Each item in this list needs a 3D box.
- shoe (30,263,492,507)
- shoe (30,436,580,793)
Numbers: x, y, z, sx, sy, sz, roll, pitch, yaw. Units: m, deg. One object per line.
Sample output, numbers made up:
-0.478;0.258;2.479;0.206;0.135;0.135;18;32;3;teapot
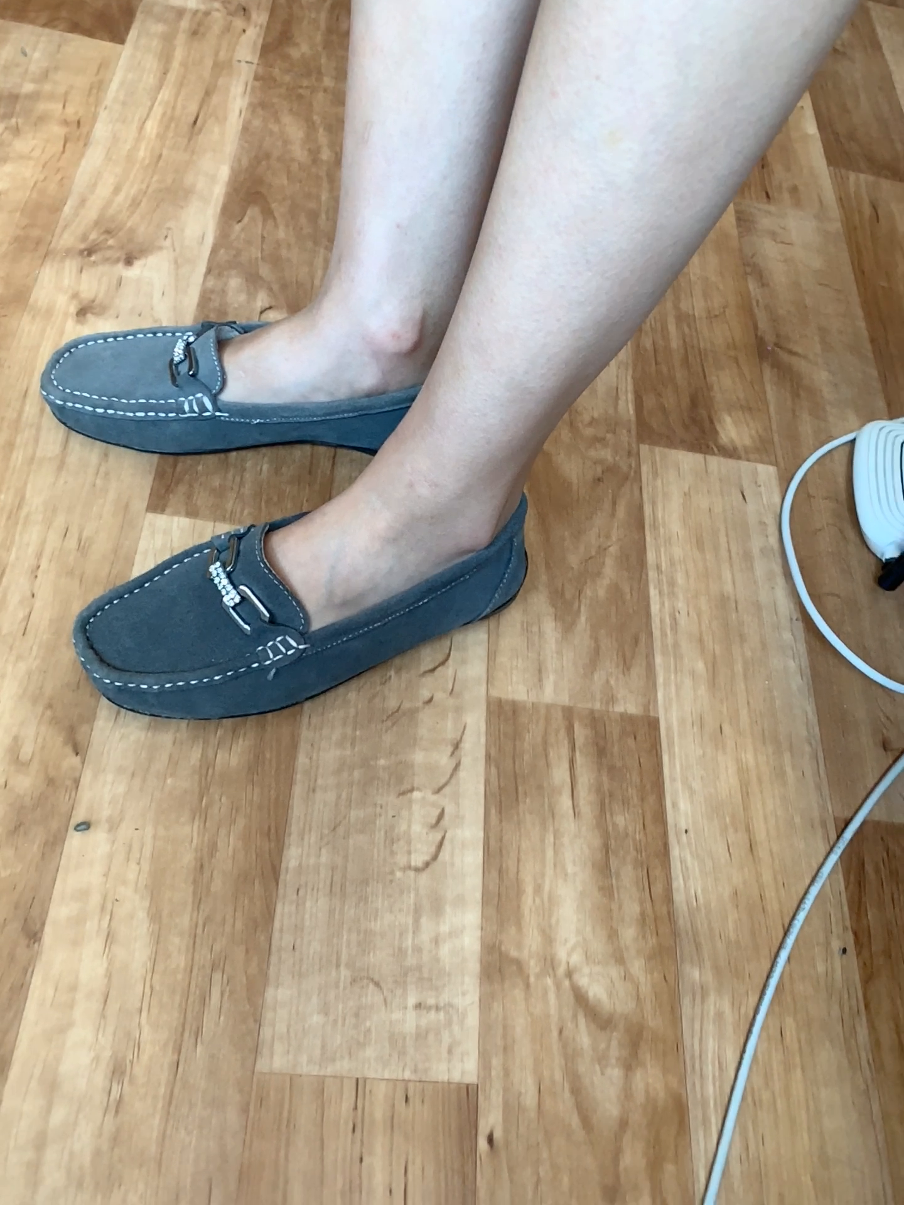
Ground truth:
-0.102;-0.124;0.539;0.240;0.060;0.090;6;56;-10;shoe
-0.069;-0.001;0.468;0.240;0.060;0.100;-17;67;-21;shoe
